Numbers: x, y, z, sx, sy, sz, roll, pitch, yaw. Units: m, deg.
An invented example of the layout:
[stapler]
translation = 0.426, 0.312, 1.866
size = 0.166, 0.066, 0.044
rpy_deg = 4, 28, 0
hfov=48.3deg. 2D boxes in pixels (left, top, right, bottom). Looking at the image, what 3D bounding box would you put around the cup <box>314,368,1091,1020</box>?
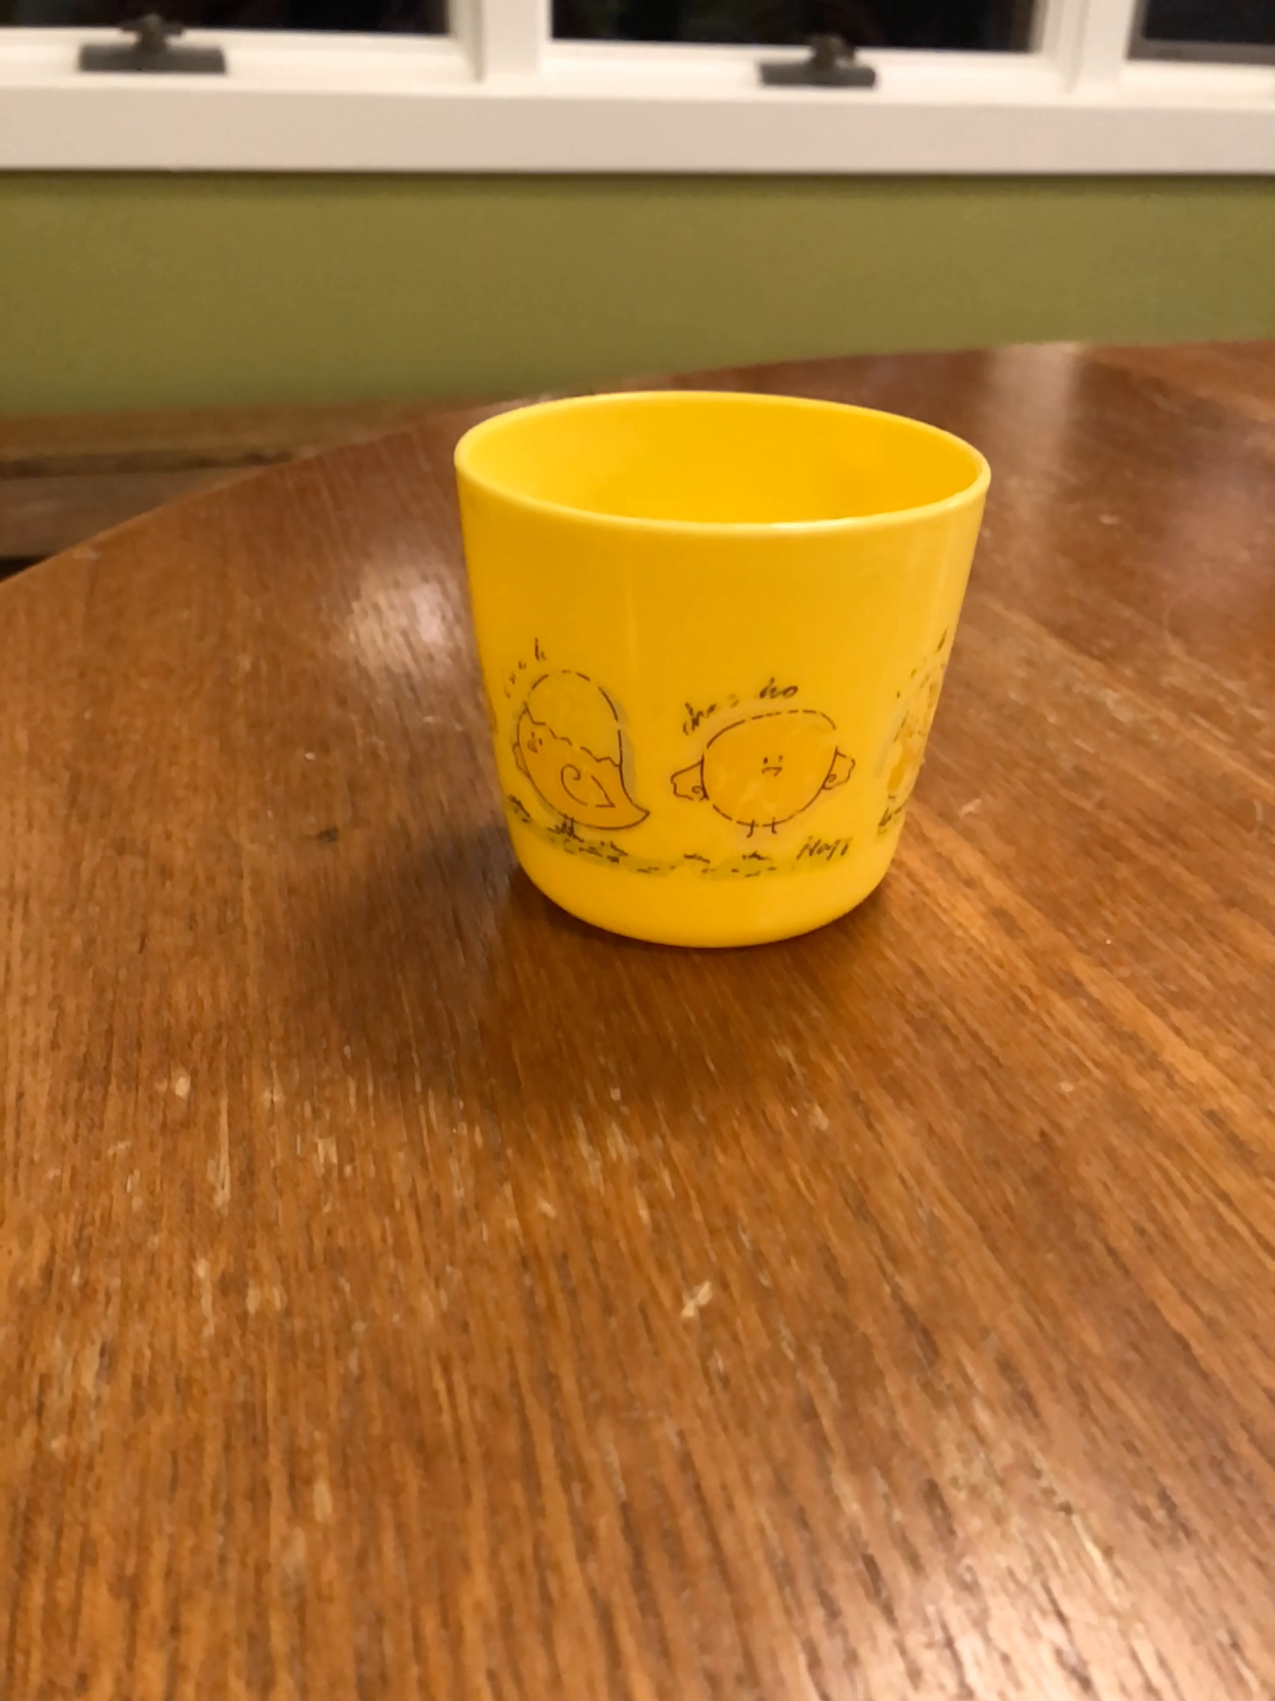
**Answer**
[cup]
translation = 0.013, -0.036, 0.241
size = 0.081, 0.064, 0.098
rpy_deg = 23, 36, 33
